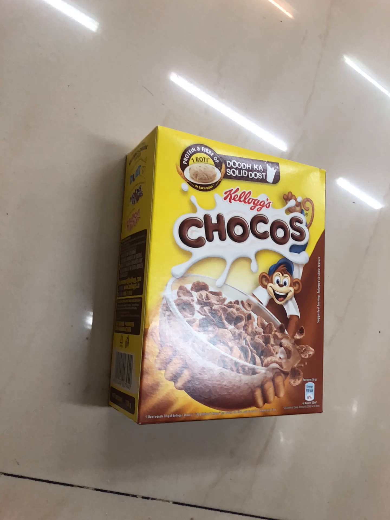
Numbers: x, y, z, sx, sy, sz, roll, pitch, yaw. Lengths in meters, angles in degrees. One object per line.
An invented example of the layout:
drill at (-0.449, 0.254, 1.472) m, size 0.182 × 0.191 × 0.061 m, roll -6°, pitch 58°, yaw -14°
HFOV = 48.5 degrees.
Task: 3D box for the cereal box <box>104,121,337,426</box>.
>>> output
cereal box at (0.022, 0.014, 0.295) m, size 0.140 × 0.050 × 0.170 m, roll 8°, pitch 83°, yaw -27°
